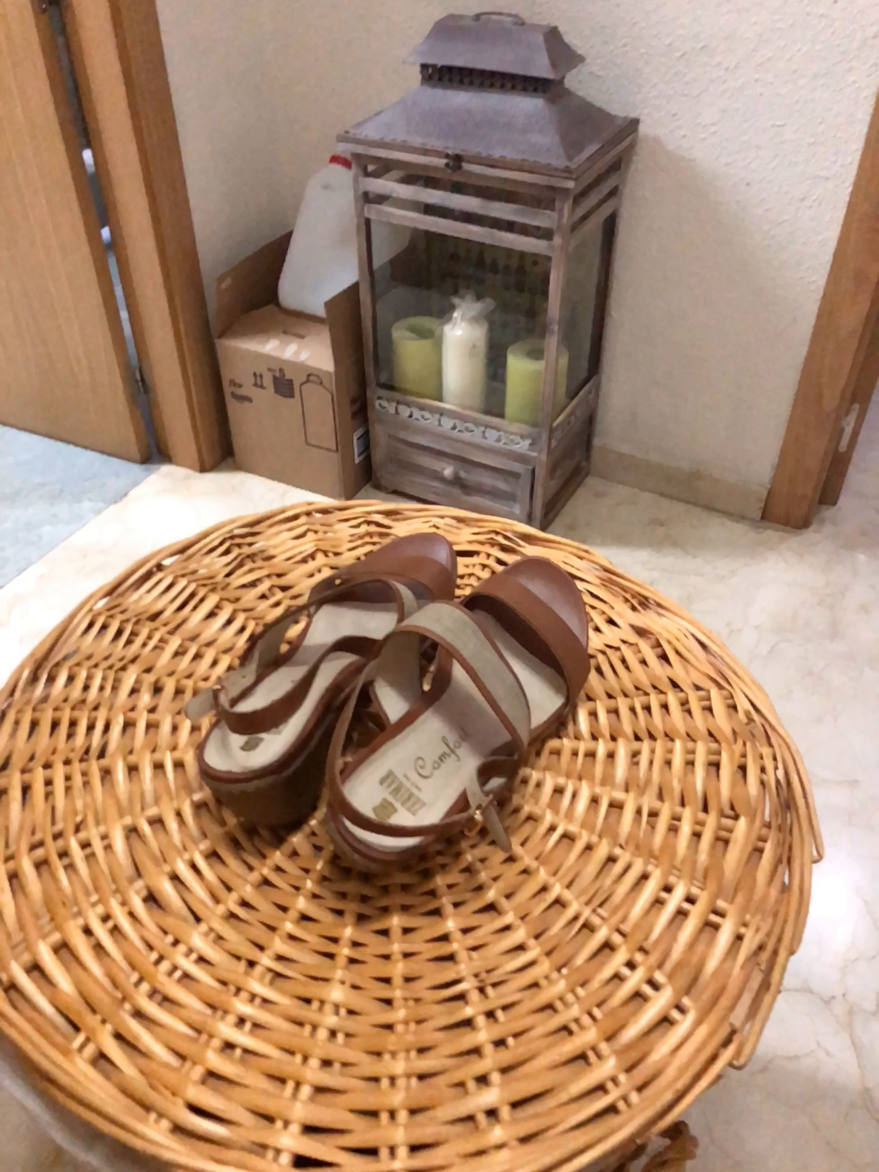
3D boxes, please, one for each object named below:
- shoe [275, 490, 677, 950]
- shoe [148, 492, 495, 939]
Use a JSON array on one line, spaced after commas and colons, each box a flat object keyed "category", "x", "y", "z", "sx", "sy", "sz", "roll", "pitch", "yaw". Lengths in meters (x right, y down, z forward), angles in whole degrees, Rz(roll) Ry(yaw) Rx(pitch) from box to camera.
[{"category": "shoe", "x": 0.032, "y": 0.060, "z": 0.564, "sx": 0.100, "sy": 0.070, "sz": 0.271, "roll": 32, "pitch": 48, "yaw": 12}, {"category": "shoe", "x": -0.054, "y": 0.061, "z": 0.595, "sx": 0.090, "sy": 0.090, "sz": 0.271, "roll": 14, "pitch": 42, "yaw": 16}]
